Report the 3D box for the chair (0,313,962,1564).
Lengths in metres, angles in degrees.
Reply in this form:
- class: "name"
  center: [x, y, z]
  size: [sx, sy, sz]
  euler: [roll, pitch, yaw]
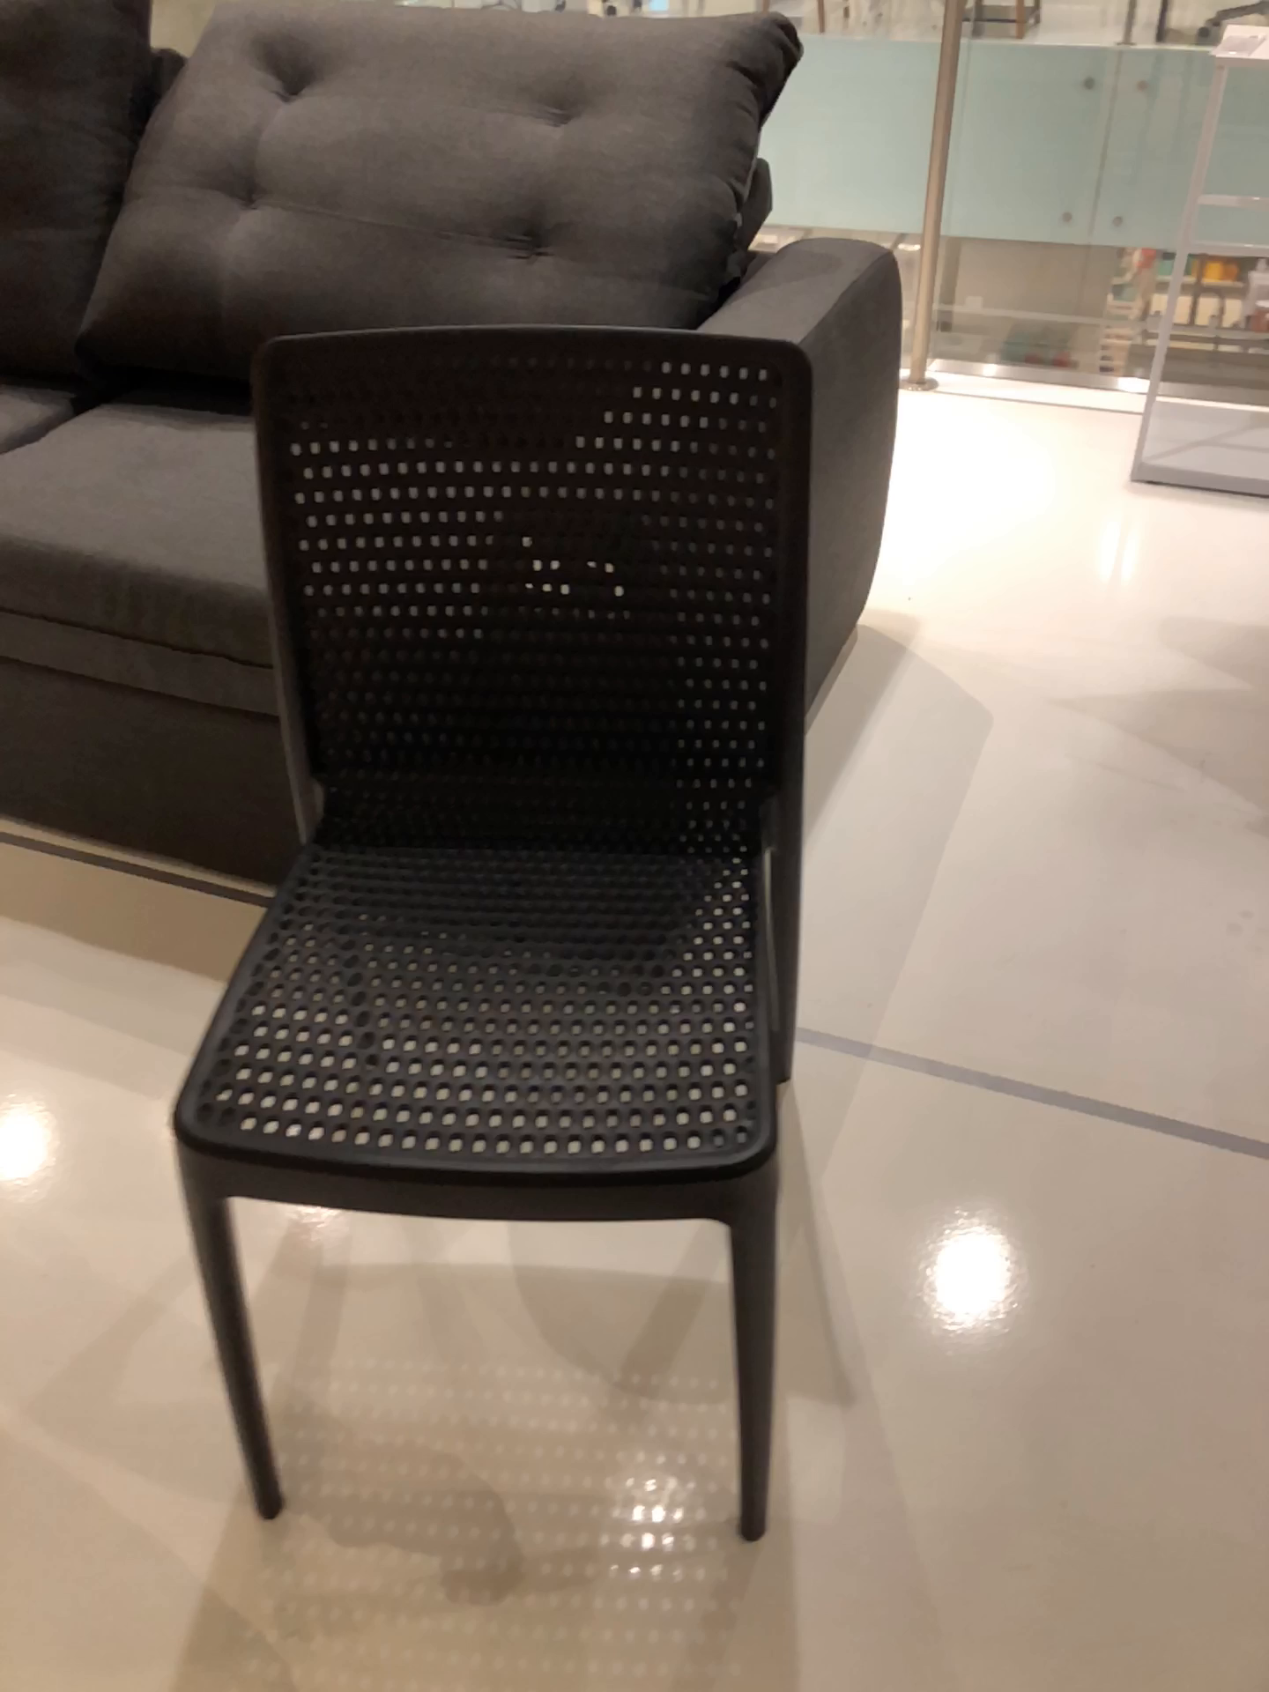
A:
- class: "chair"
  center: [-0.095, 0.072, 1.092]
  size: [0.530, 0.783, 0.565]
  euler: [1, 37, 3]
